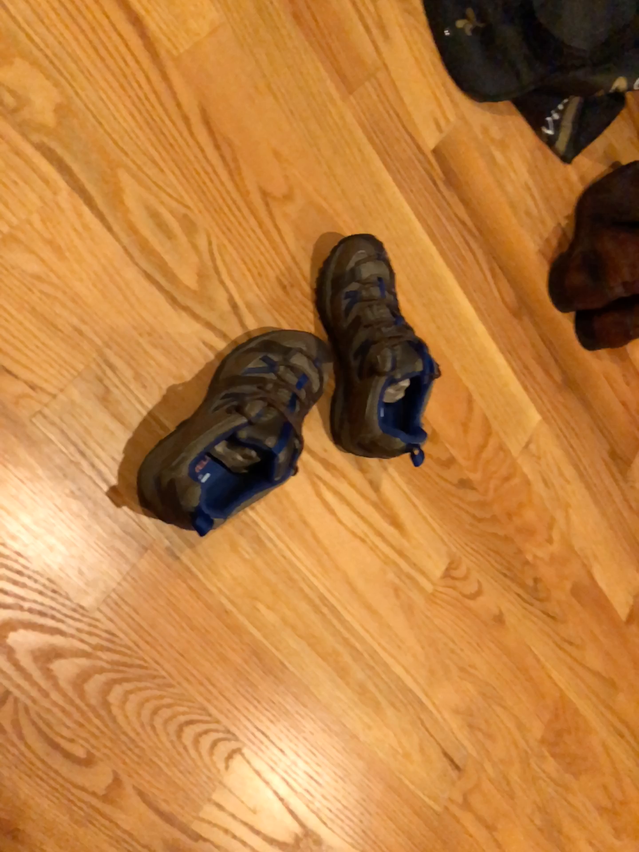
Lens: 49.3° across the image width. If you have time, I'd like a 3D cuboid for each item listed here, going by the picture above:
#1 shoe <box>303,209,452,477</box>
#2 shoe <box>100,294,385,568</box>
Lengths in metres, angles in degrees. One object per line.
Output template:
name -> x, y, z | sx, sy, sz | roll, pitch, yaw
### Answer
shoe -> 0.059, -0.079, 0.720 | 0.097, 0.094, 0.251 | -5, 91, -37
shoe -> -0.064, -0.001, 0.636 | 0.240, 0.106, 0.094 | -51, 117, -27
